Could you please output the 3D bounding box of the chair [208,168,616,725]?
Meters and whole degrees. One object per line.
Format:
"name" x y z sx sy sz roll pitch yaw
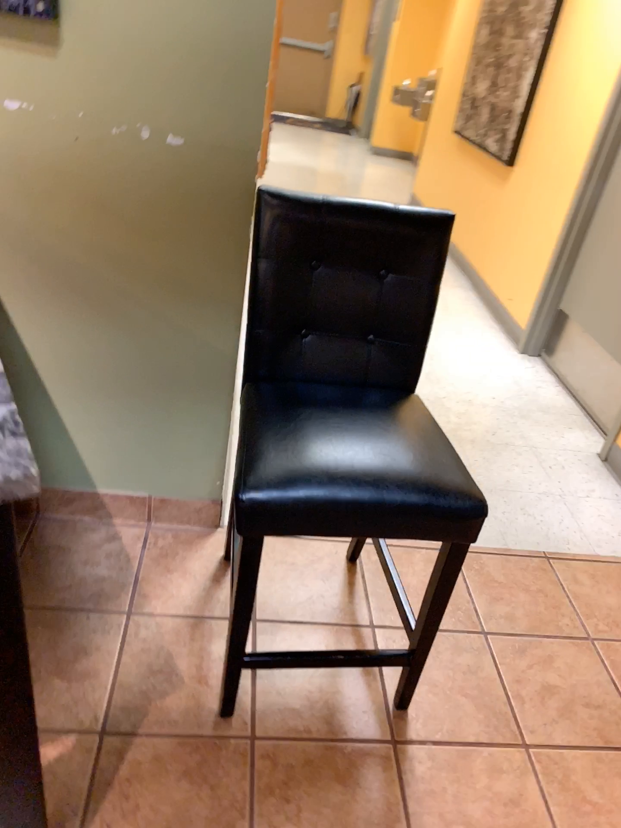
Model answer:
"chair" 0.072 0.077 1.353 0.498 0.961 0.621 3 32 -12
